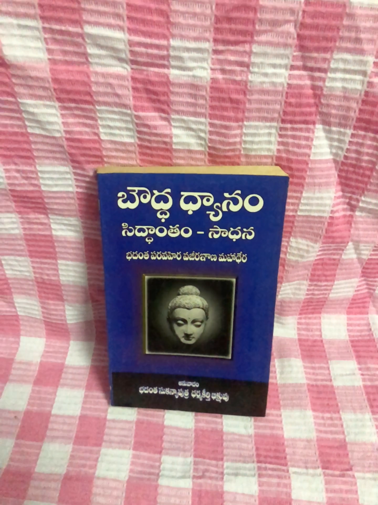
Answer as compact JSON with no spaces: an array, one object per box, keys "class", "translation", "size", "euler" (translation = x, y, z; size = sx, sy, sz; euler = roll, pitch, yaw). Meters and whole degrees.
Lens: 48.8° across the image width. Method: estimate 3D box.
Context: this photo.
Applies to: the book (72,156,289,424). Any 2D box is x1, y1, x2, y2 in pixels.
[{"class":"book","translation":[-0.008,0.038,0.358],"size":[0.160,0.229,0.030],"euler":[2,20,5]}]
